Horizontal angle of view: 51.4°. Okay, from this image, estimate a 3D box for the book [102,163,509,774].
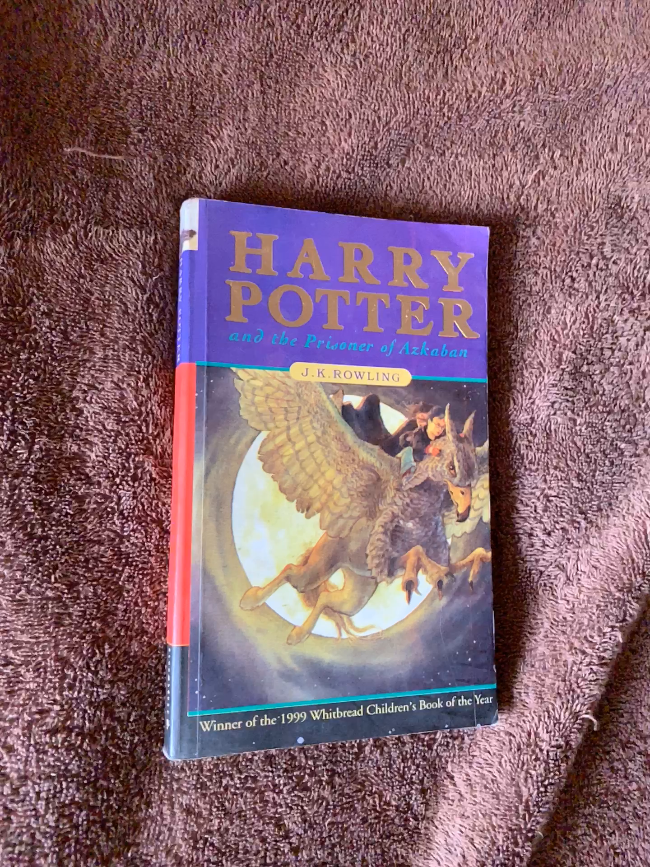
[{"bbox_3d":[-0.004,0.008,0.227,0.130,0.020,0.180,1,85,-16],"label":"book"}]
